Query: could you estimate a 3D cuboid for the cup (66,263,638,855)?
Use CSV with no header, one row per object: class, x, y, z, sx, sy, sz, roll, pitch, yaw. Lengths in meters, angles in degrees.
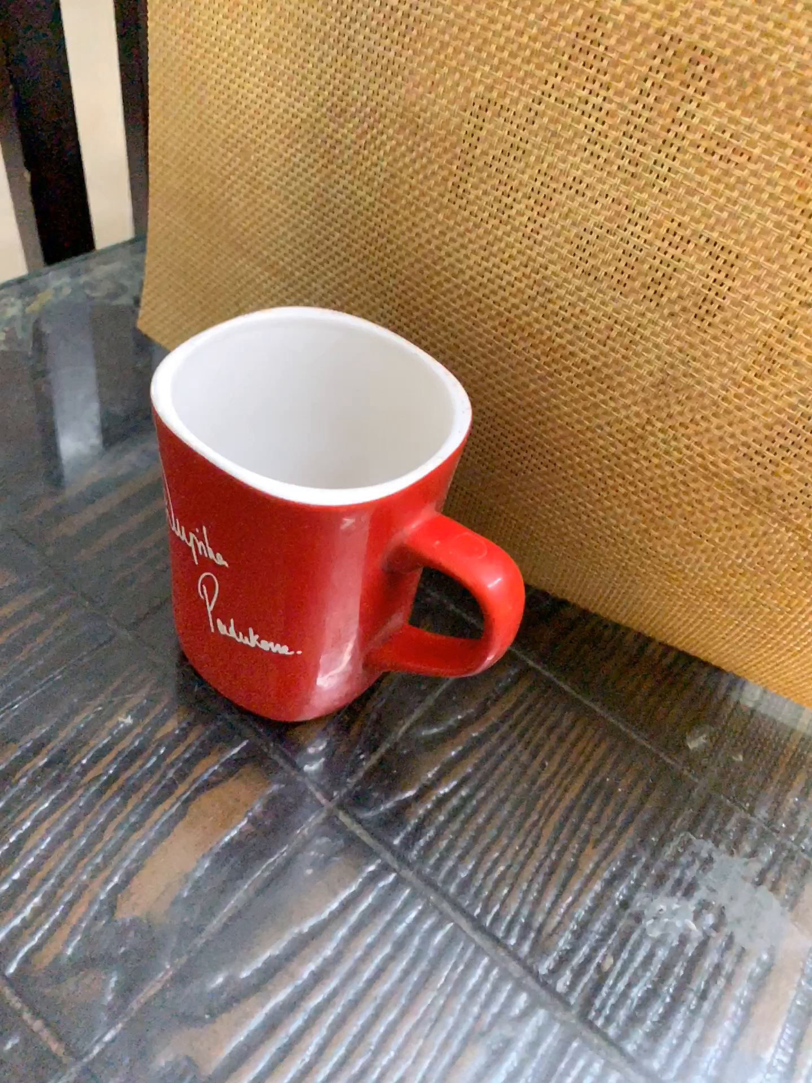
cup,-0.017,0.000,0.206,0.100,0.079,0.070,37,49,23
